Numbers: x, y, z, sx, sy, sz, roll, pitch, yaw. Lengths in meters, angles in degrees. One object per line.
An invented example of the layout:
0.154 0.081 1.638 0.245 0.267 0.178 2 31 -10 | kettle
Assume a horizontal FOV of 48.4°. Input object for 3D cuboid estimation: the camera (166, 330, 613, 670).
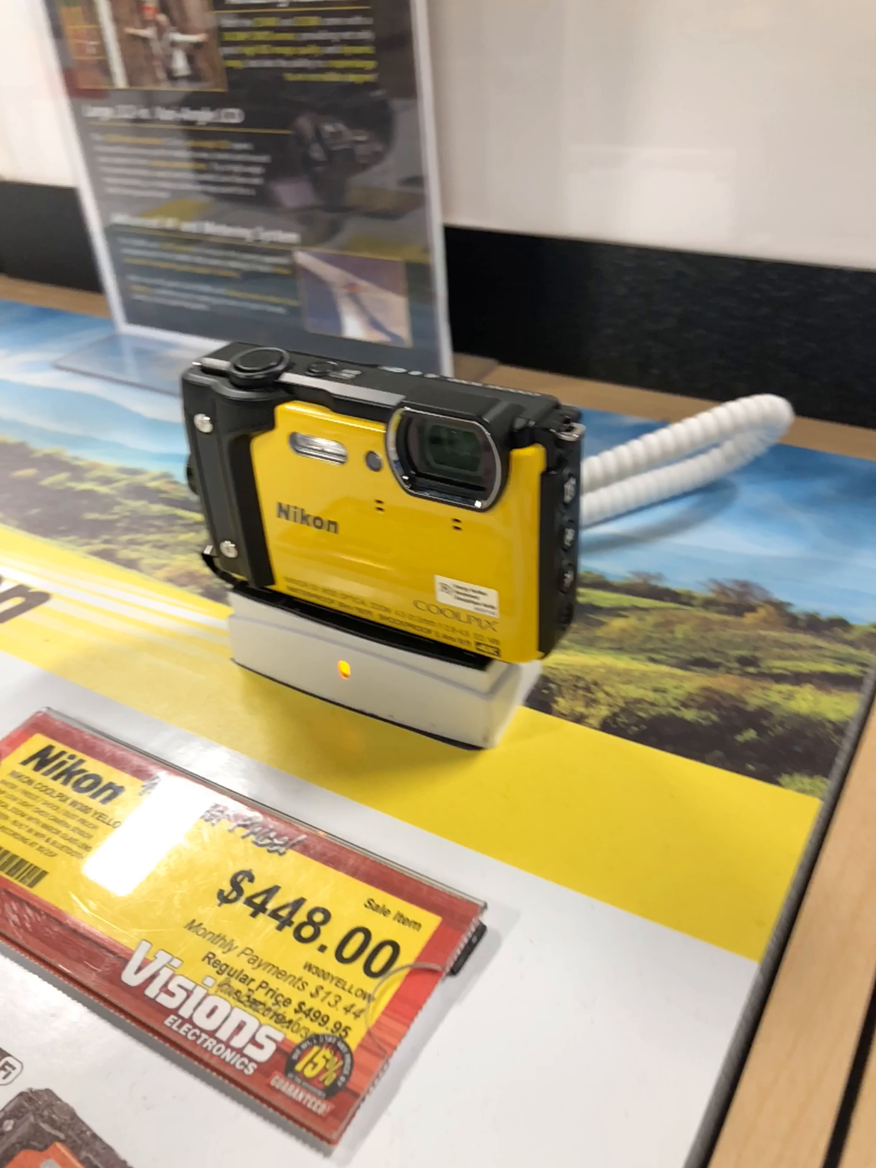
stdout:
-0.014 -0.025 0.252 0.110 0.060 0.030 16 37 27 | camera
